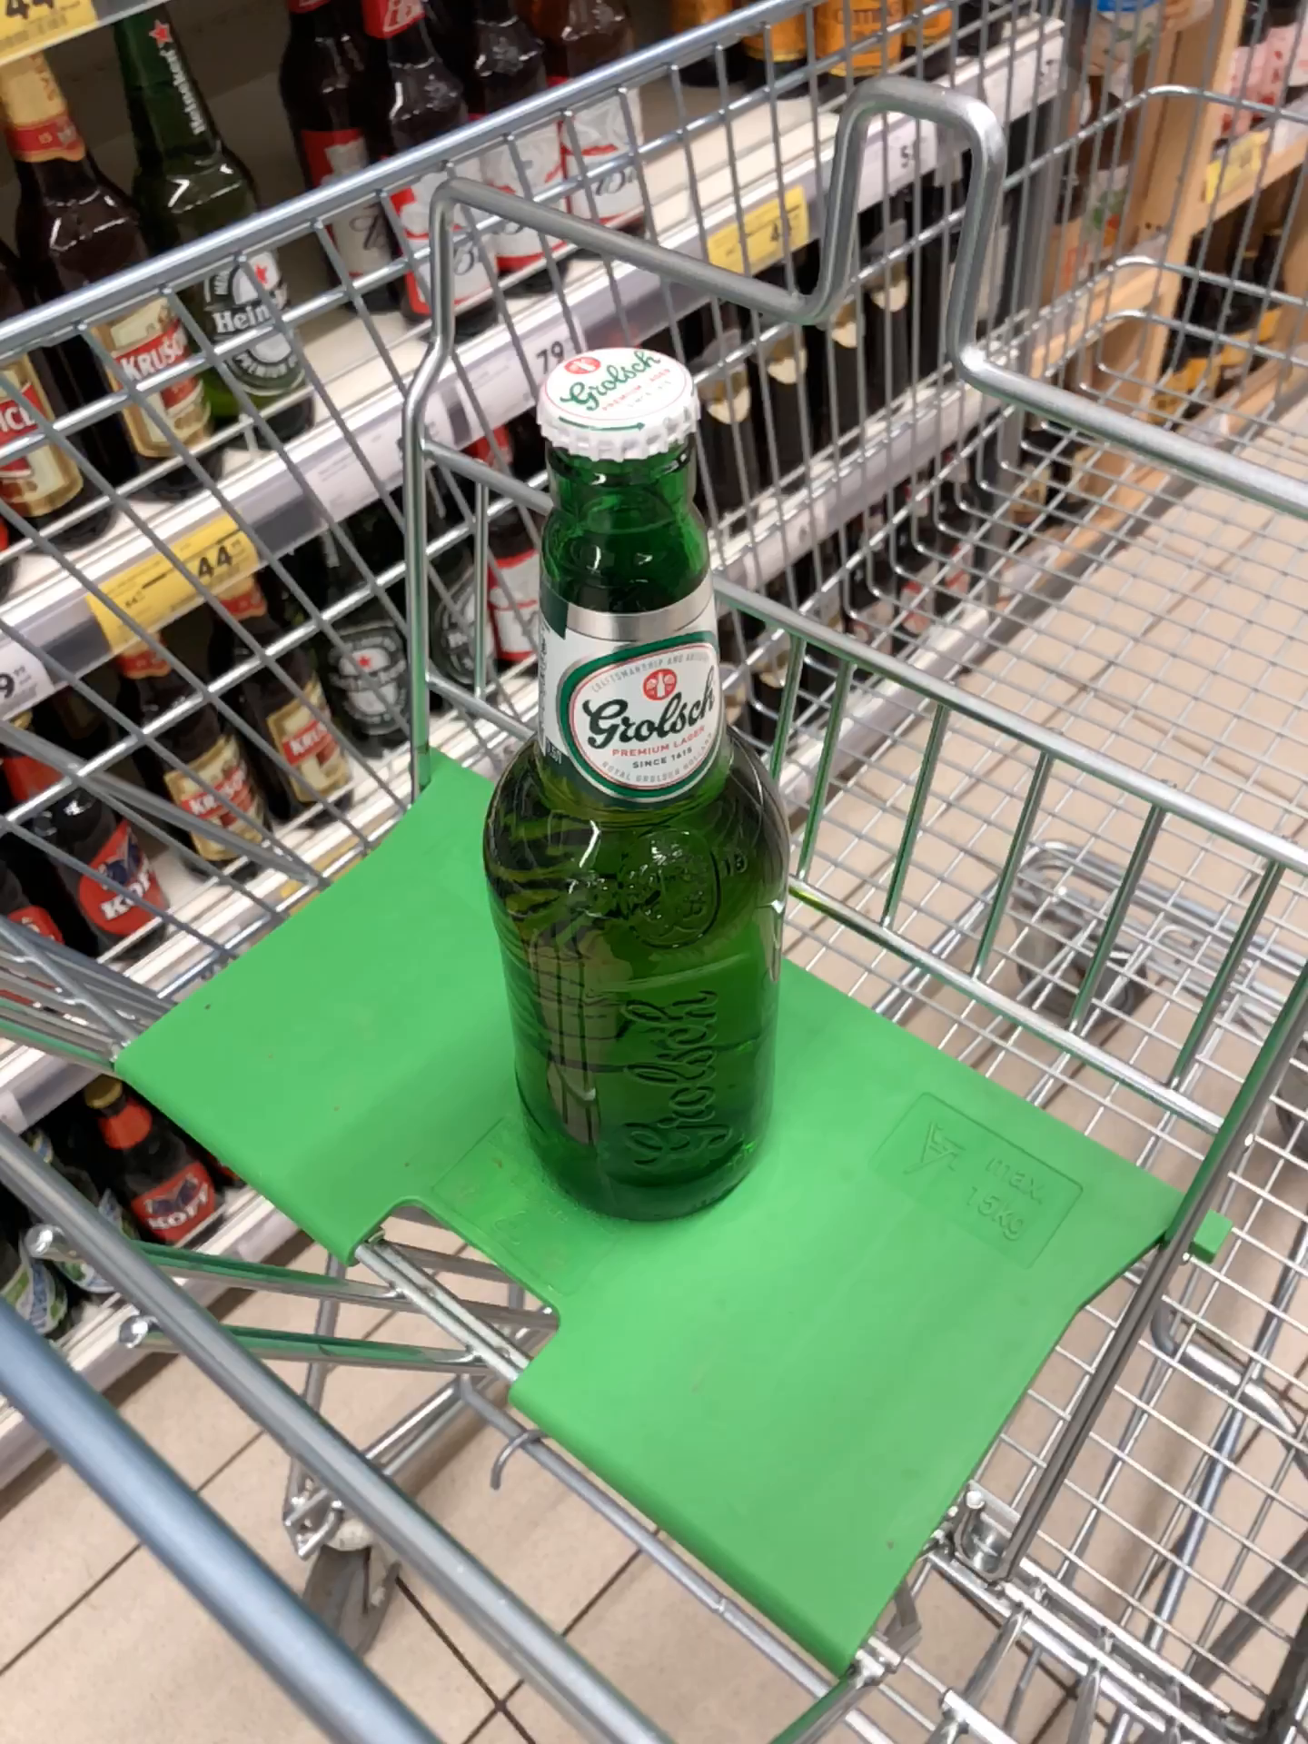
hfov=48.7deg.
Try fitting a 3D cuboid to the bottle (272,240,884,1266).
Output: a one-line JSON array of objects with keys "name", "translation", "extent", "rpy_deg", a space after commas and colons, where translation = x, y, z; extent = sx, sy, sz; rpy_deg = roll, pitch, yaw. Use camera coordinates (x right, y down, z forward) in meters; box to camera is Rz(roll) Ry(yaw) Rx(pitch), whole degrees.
[{"name": "bottle", "translation": [-0.009, -0.008, 0.324], "extent": [0.080, 0.219, 0.080], "rpy_deg": [-2, 50, 3]}]
